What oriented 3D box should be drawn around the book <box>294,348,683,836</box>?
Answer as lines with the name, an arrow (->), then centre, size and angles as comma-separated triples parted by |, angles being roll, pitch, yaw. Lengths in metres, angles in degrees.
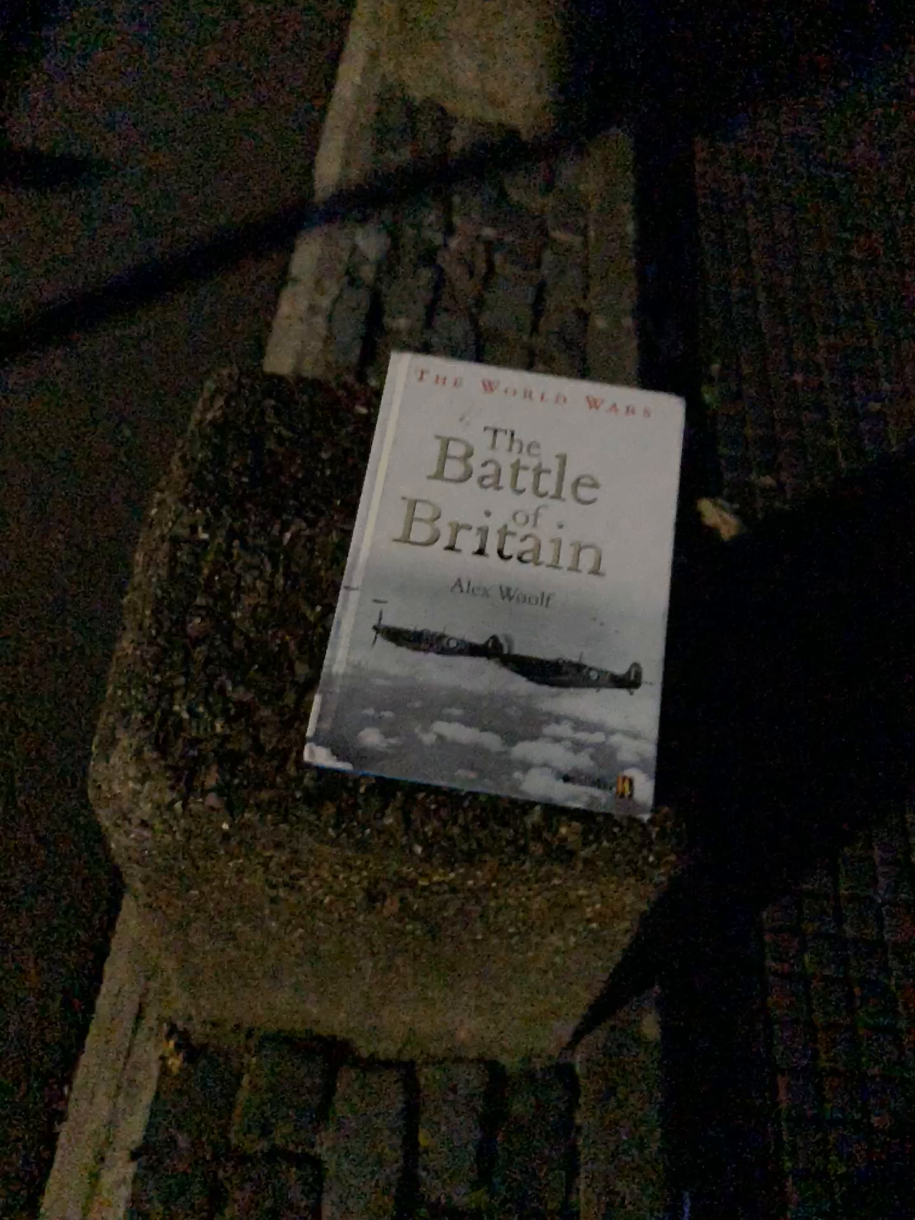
book -> 0.025, -0.019, 0.503 | 0.170, 0.020, 0.245 | 10, 69, 0
